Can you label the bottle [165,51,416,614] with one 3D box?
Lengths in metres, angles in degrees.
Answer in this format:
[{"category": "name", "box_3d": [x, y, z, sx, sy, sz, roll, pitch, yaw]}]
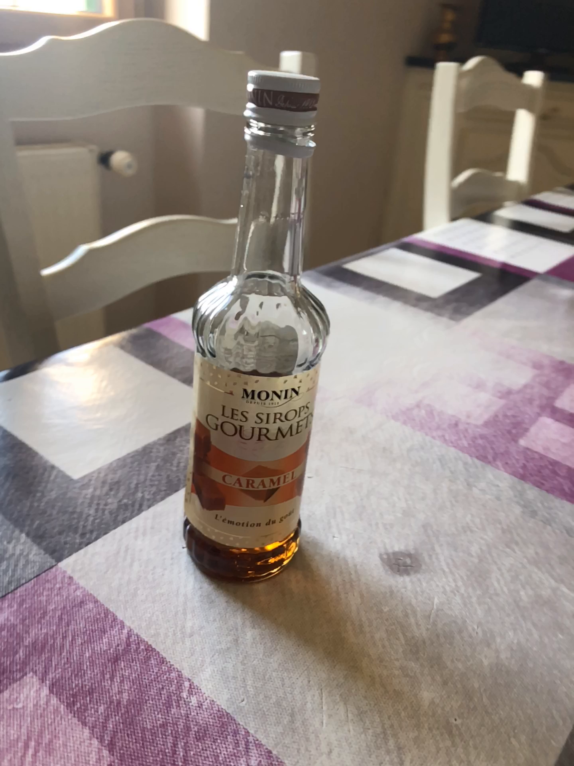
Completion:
[{"category": "bottle", "box_3d": [-0.012, -0.015, 0.295, 0.070, 0.239, 0.070, 5, 28, -2]}]
